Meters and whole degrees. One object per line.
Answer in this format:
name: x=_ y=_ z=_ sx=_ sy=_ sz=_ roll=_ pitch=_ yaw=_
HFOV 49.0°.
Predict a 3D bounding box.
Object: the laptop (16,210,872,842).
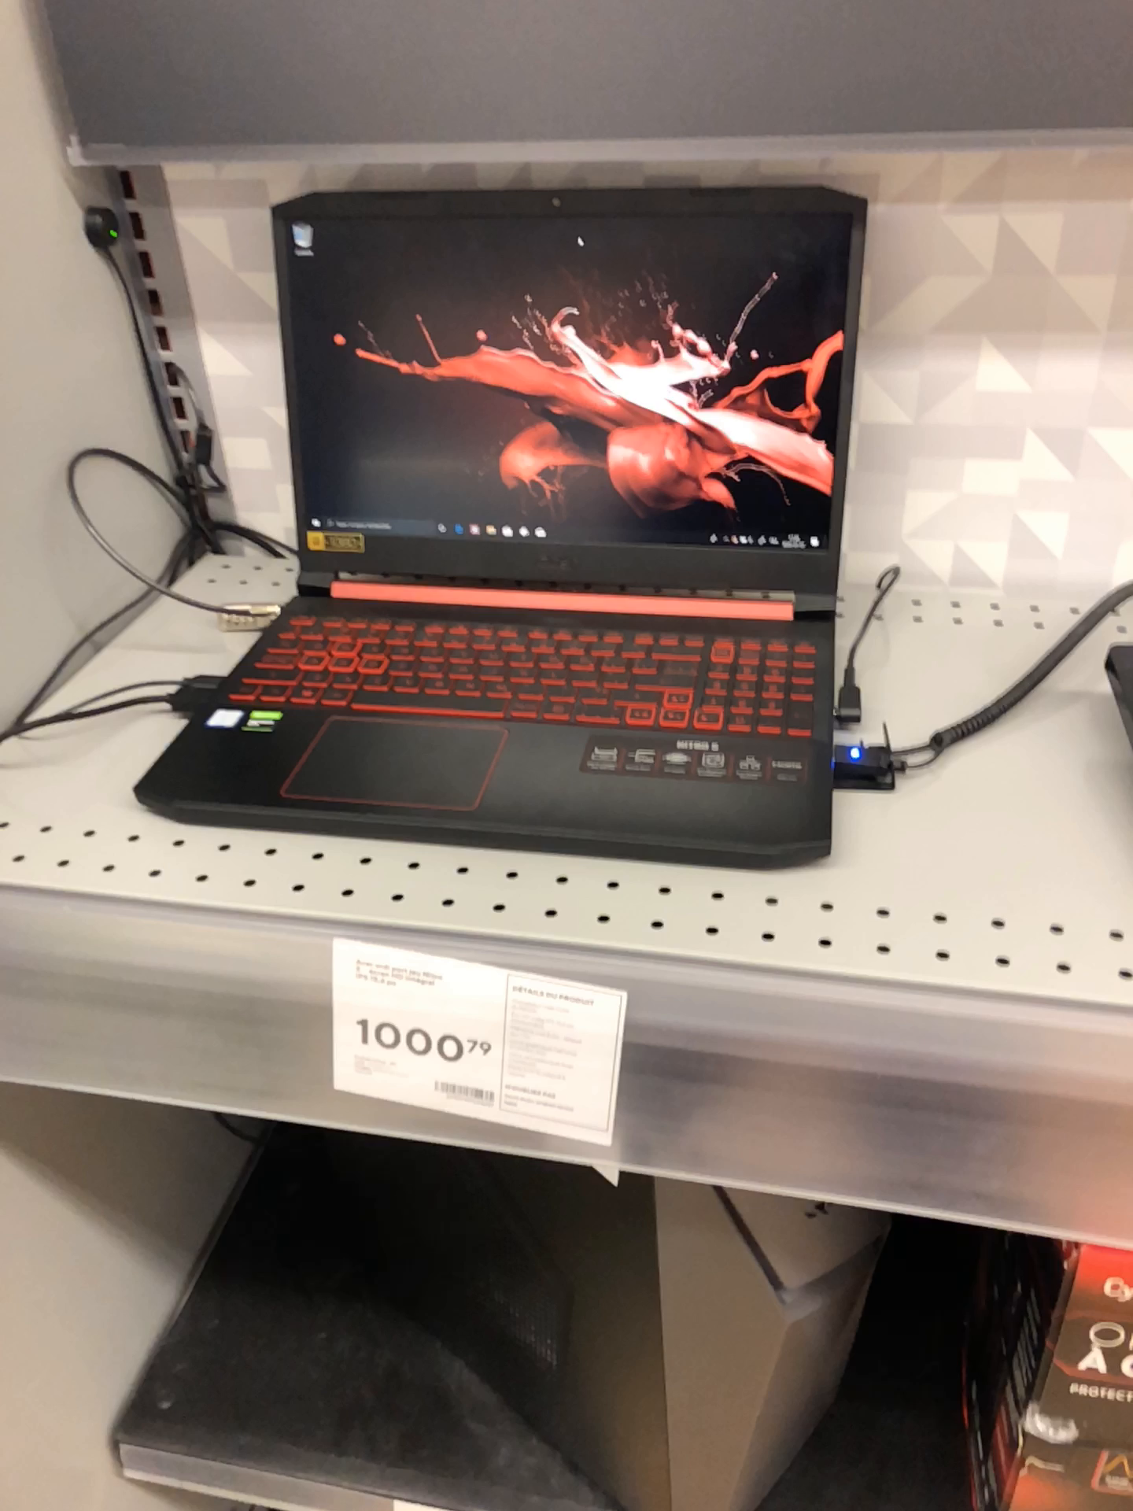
laptop: x=-0.028 y=-0.146 z=0.692 sx=0.361 sy=0.241 sz=0.282 roll=4 pitch=34 yaw=9
